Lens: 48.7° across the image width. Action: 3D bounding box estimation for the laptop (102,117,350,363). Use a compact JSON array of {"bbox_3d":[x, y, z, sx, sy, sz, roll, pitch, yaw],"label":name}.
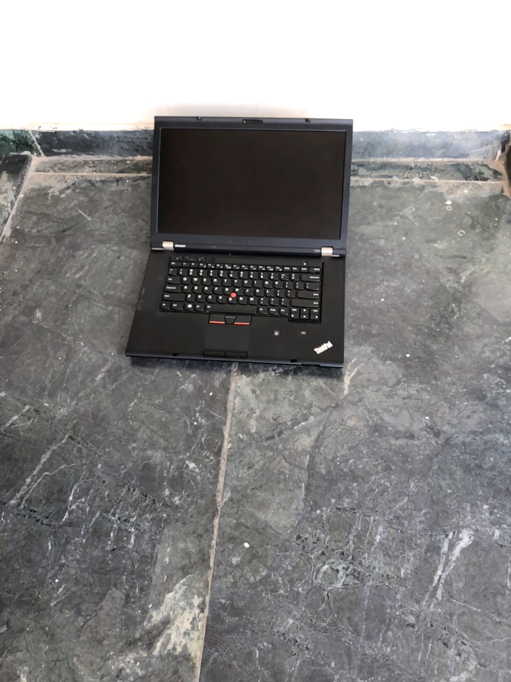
[{"bbox_3d":[-0.020,-0.166,0.854,0.311,0.115,0.376,3,59,6],"label":"laptop"}]
